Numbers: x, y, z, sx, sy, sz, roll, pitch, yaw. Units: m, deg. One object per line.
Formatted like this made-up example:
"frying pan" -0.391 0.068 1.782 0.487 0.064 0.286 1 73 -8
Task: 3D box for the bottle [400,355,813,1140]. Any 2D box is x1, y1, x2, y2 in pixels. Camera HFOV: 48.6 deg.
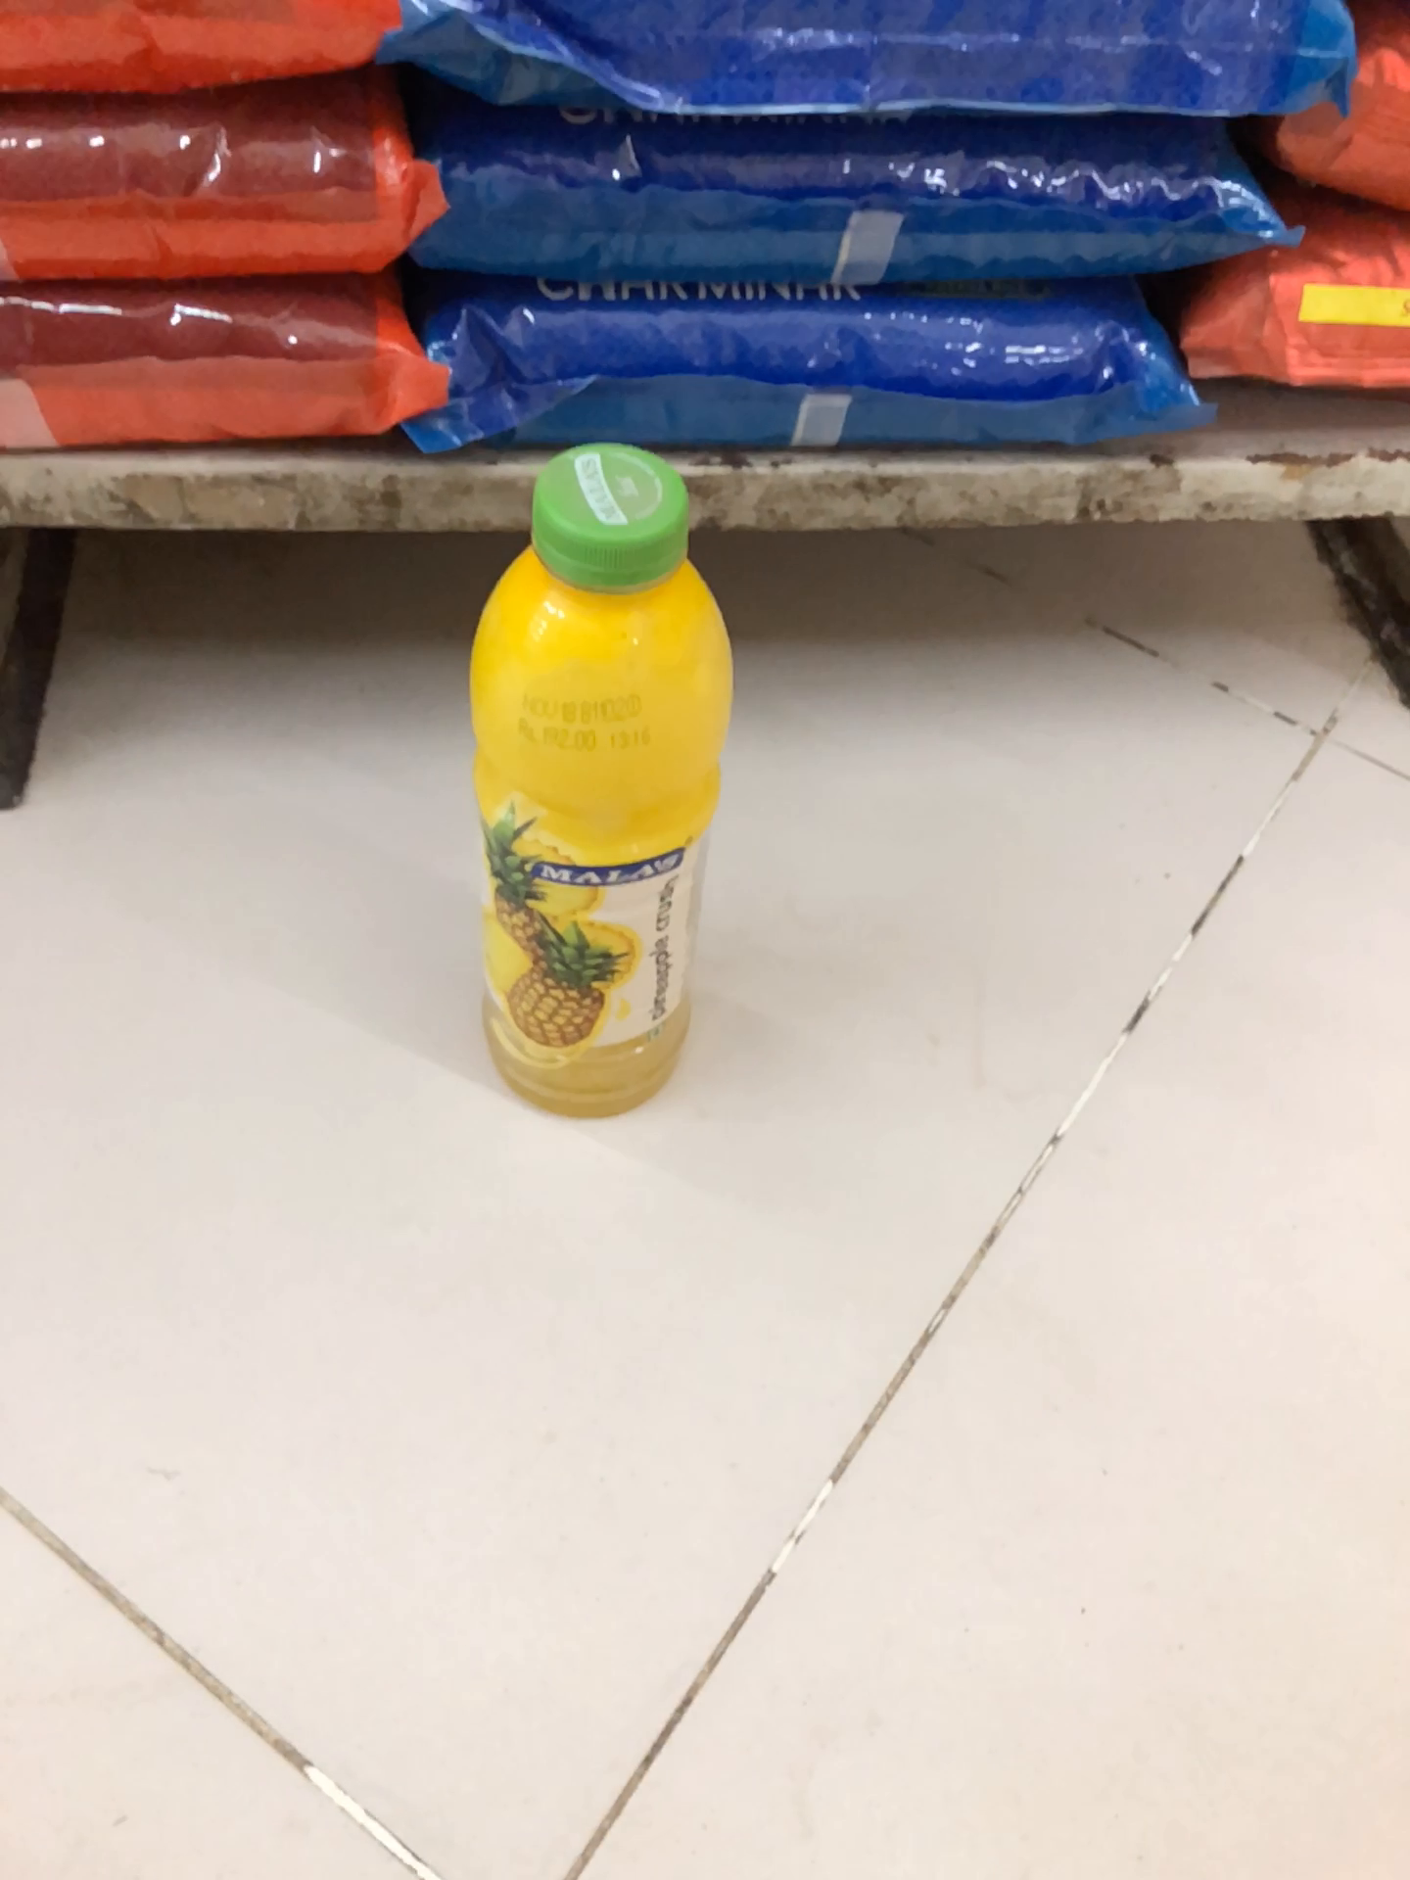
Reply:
"bottle" -0.037 -0.044 0.488 0.090 0.248 0.090 3 53 -4
